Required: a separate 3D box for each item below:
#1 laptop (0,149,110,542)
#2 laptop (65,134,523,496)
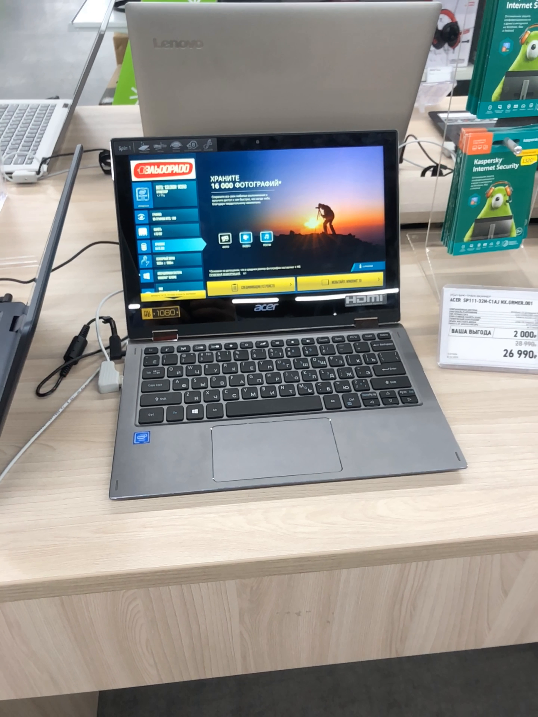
[{"bbox_3d":[-0.303,-0.031,0.491,0.287,0.174,0.276,-4,40,-6],"label":"laptop"},{"bbox_3d":[0.003,-0.063,0.539,0.287,0.168,0.304,-4,40,-5],"label":"laptop"}]
